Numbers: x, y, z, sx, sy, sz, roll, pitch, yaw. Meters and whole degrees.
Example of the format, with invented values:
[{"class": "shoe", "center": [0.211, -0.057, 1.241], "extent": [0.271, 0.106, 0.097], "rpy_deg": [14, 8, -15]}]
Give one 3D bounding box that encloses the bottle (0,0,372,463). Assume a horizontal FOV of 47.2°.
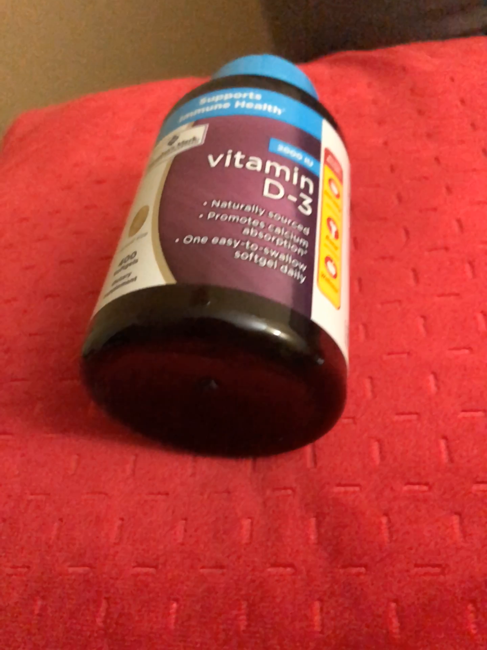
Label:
[{"class": "bottle", "center": [-0.005, -0.041, 0.153], "extent": [0.070, 0.060, 0.140], "rpy_deg": [-4, 53, 16]}]
